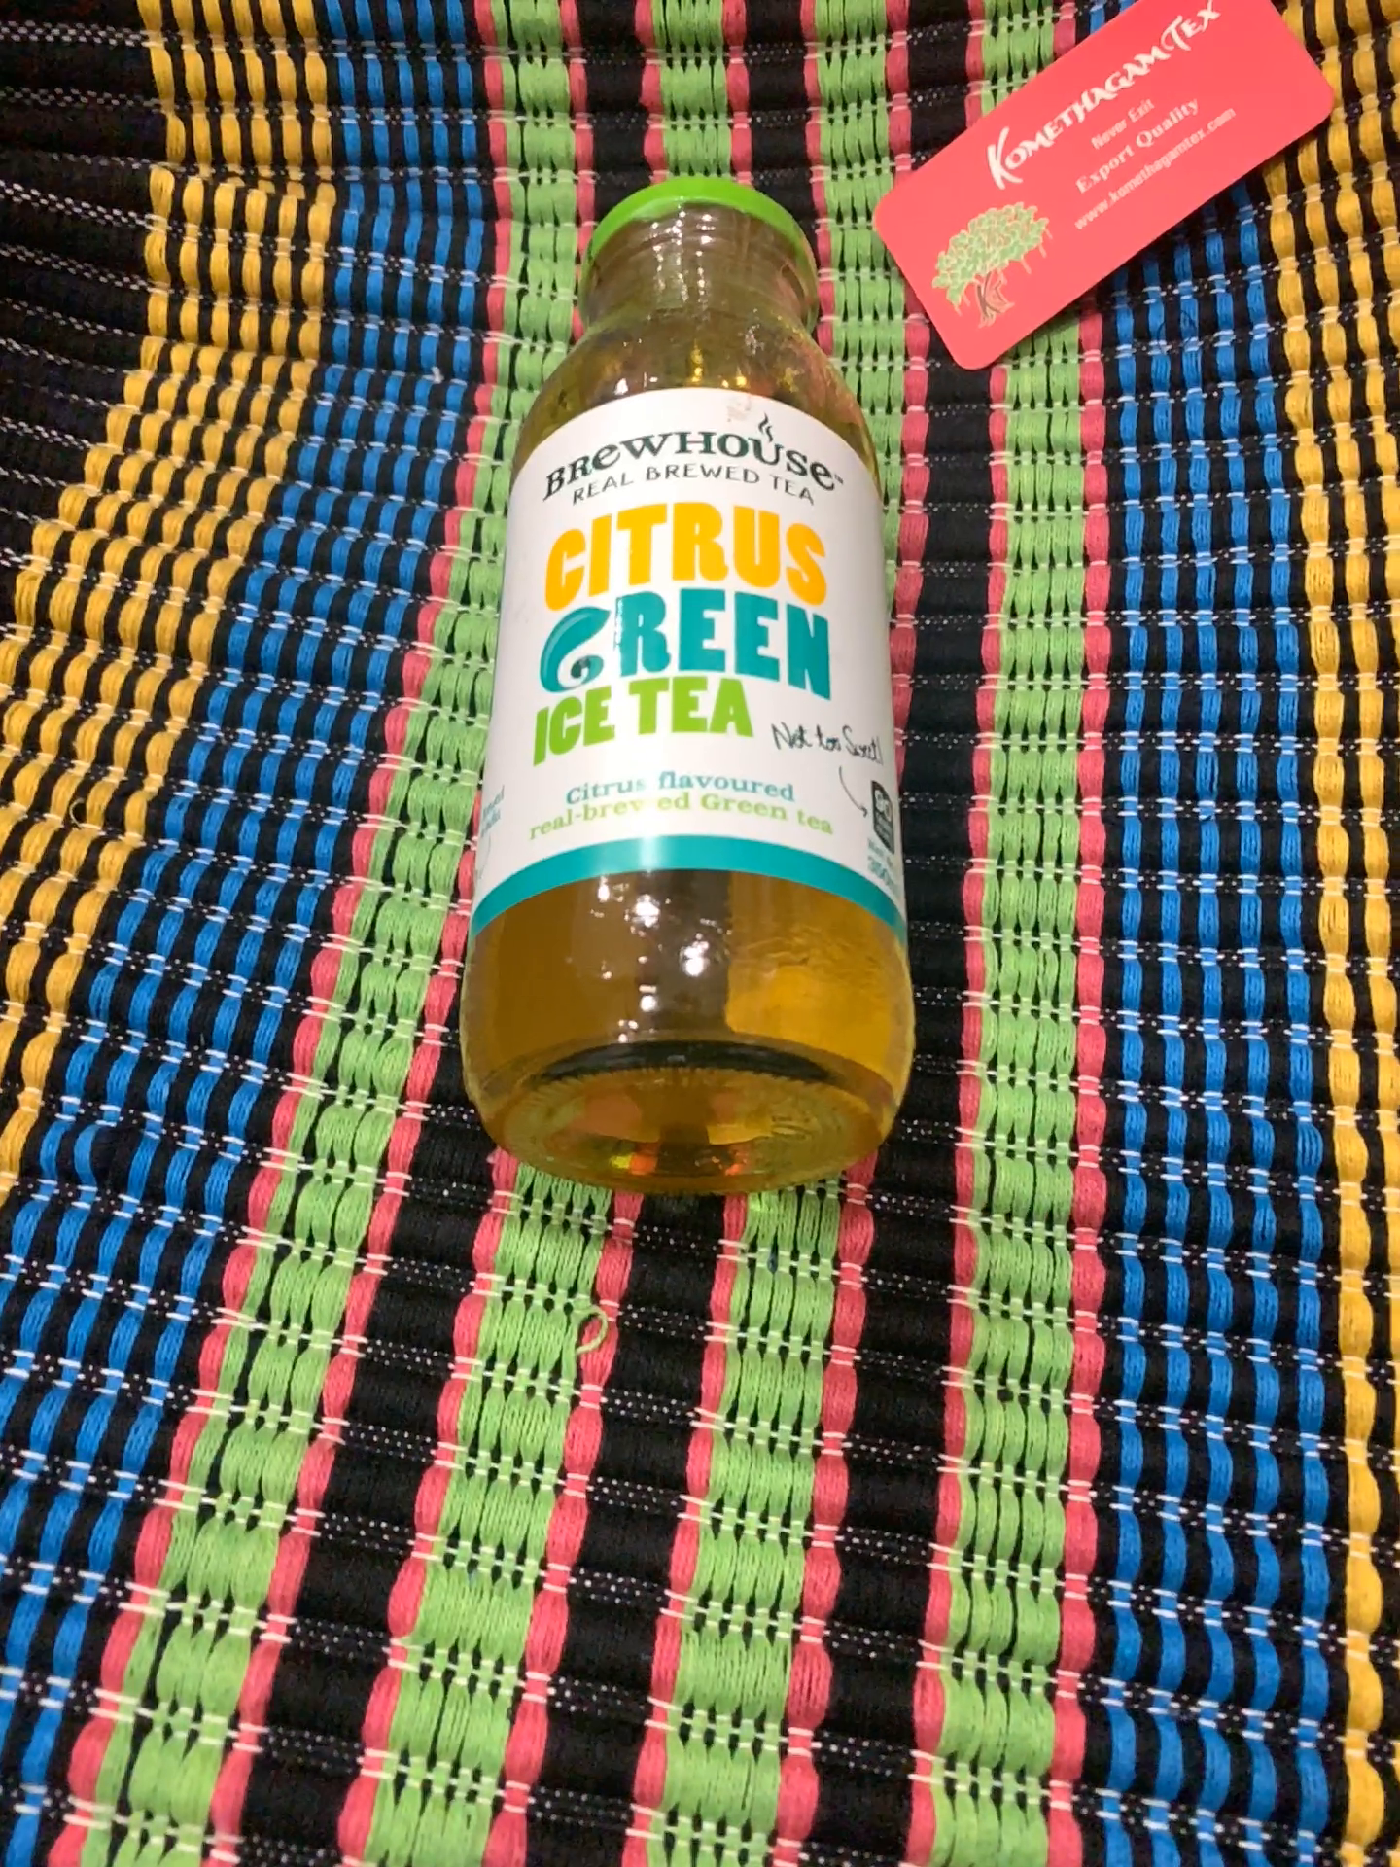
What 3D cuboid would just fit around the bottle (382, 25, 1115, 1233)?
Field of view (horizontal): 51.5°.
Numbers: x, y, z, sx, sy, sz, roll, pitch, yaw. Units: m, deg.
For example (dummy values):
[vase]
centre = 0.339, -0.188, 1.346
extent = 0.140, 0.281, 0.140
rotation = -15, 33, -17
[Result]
[bottle]
centre = 0.011, -0.058, 0.237
extent = 0.080, 0.070, 0.190
rotation = 6, 58, -1
